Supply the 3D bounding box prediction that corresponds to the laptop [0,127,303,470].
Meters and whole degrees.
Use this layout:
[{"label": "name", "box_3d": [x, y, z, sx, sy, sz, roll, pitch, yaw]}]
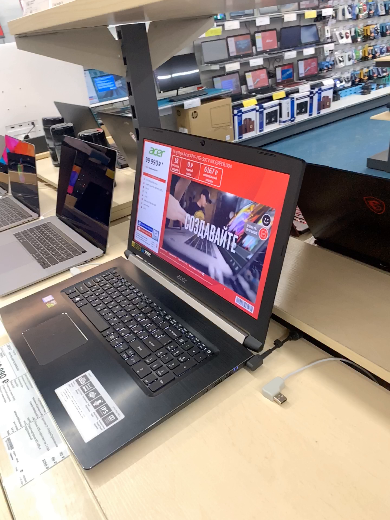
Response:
[{"label": "laptop", "box_3d": [-0.115, -0.015, 0.619, 0.362, 0.248, 0.408, -26, 35, -28]}]
